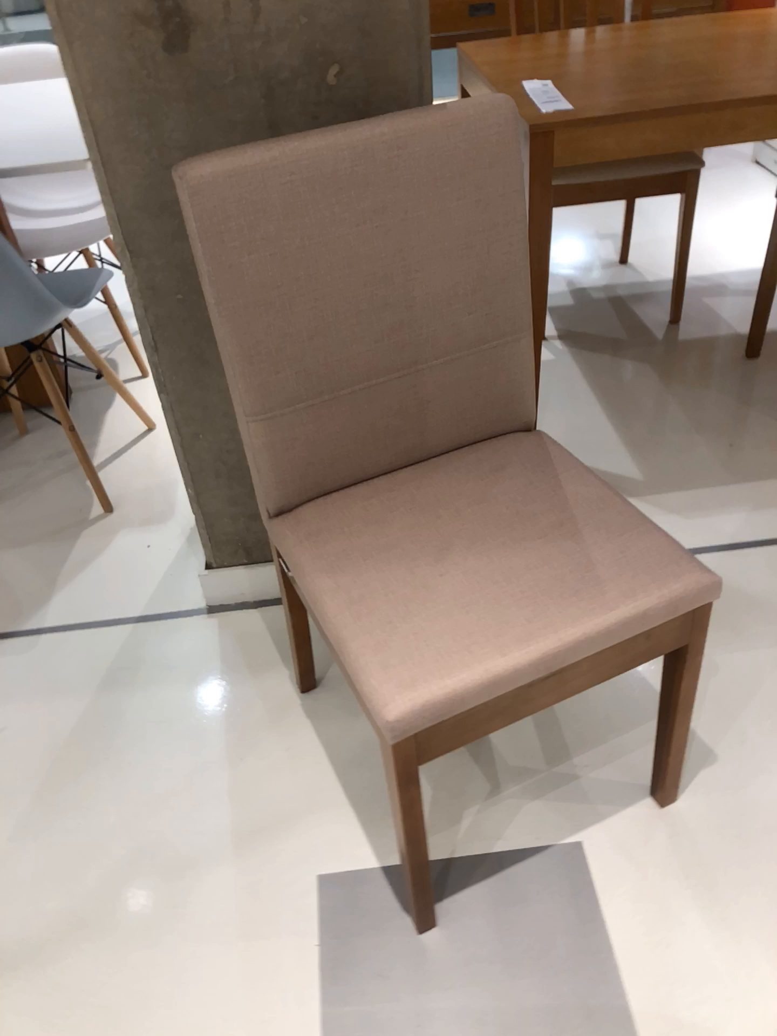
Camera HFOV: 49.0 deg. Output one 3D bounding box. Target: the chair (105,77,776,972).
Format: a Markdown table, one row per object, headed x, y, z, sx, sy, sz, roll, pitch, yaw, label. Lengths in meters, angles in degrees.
| x | y | z | sx | sy | sz | roll | pitch | yaw | label |
| --- | --- | --- | --- | --- | --- | --- | --- | --- | --- |
| 0.080 | 0.016 | 1.146 | 0.561 | 0.933 | 0.543 | -19 | 41 | -16 | chair |
